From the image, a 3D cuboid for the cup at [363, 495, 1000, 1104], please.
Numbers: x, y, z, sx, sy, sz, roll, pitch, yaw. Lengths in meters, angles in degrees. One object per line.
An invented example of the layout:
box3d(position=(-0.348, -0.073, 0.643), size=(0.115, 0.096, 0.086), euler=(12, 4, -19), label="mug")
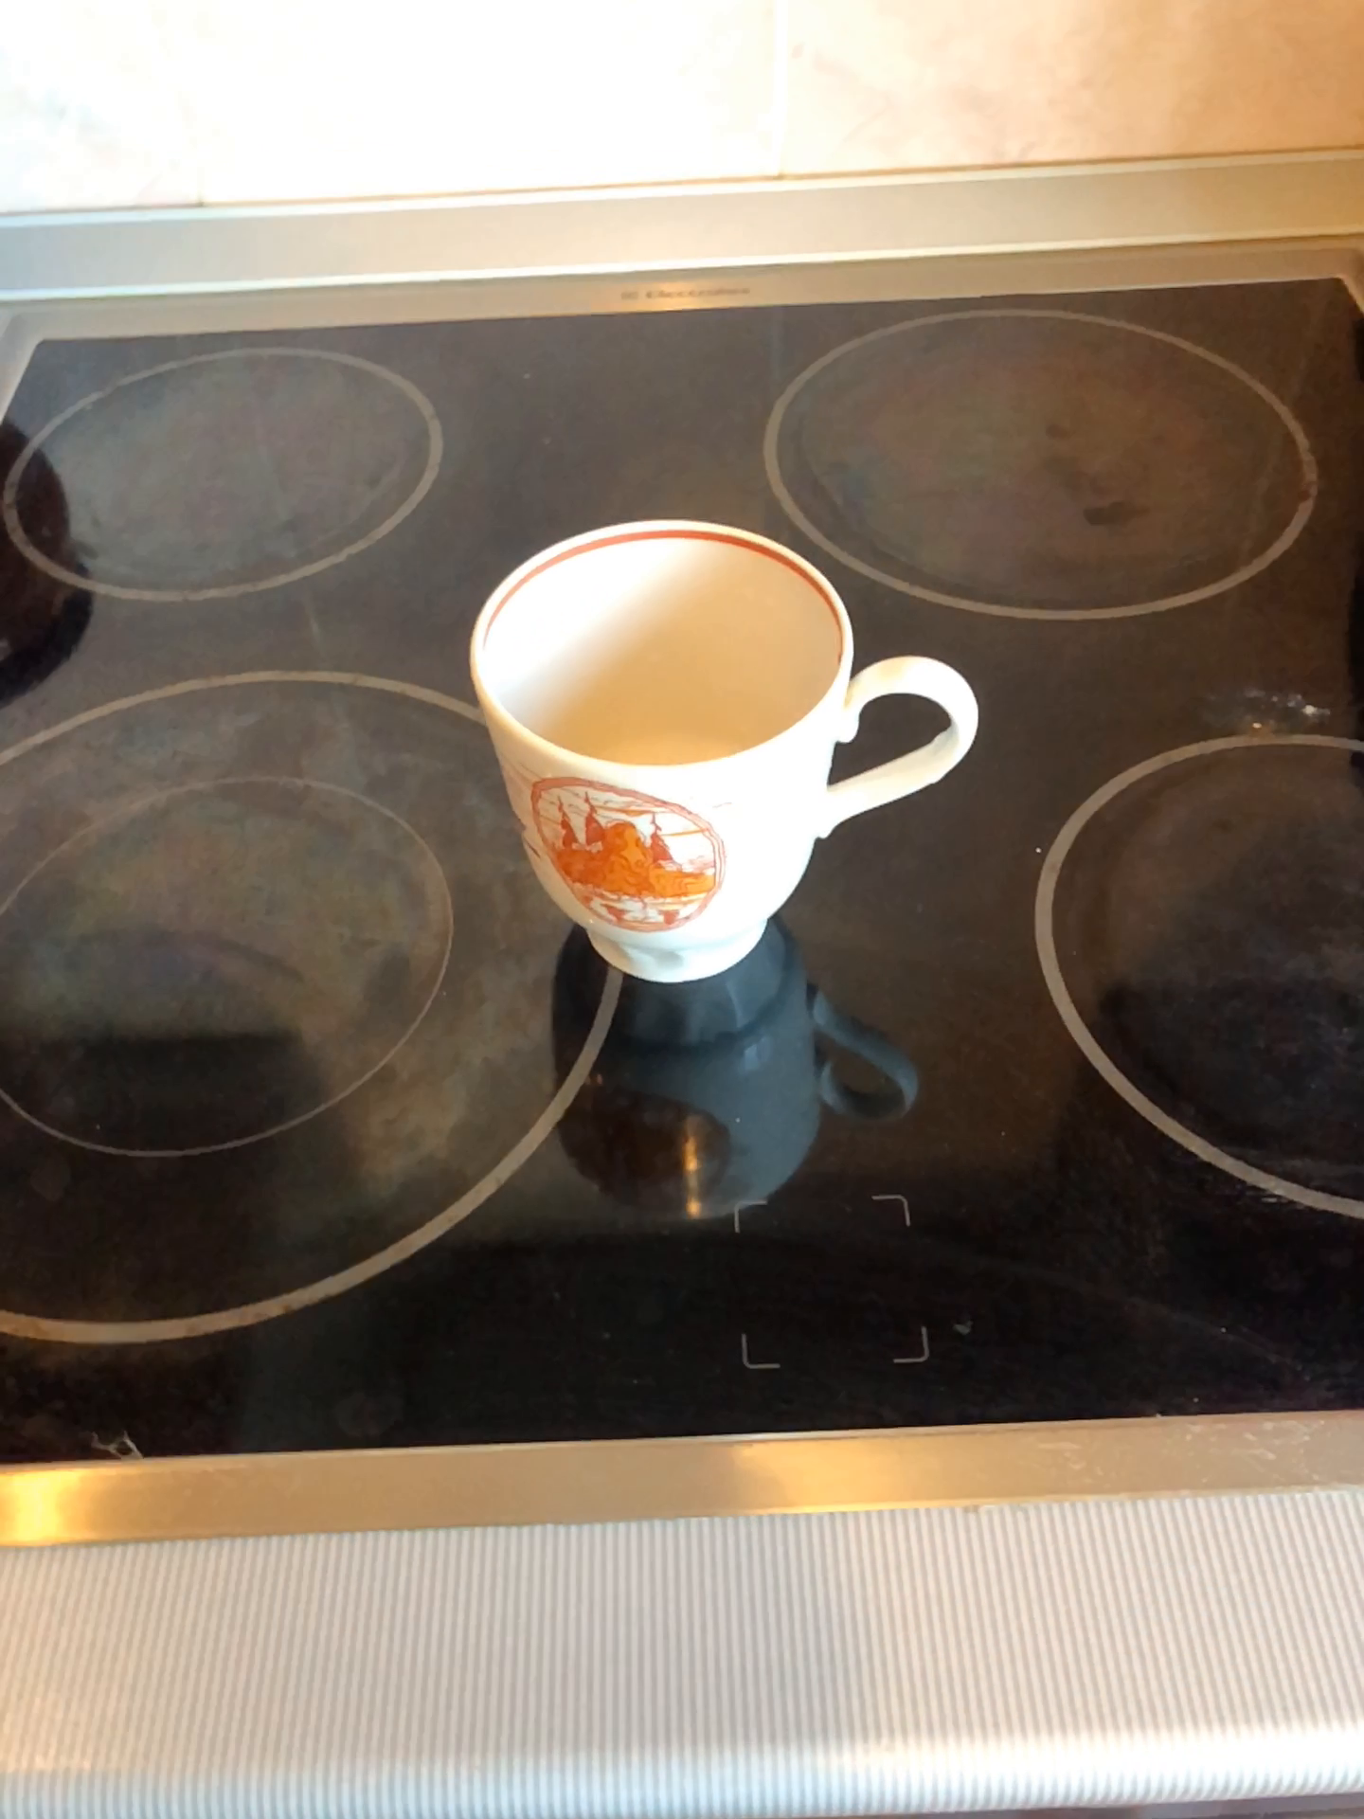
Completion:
box3d(position=(0.004, -0.028, 0.368), size=(0.120, 0.090, 0.090), euler=(12, 51, 12), label="cup")
